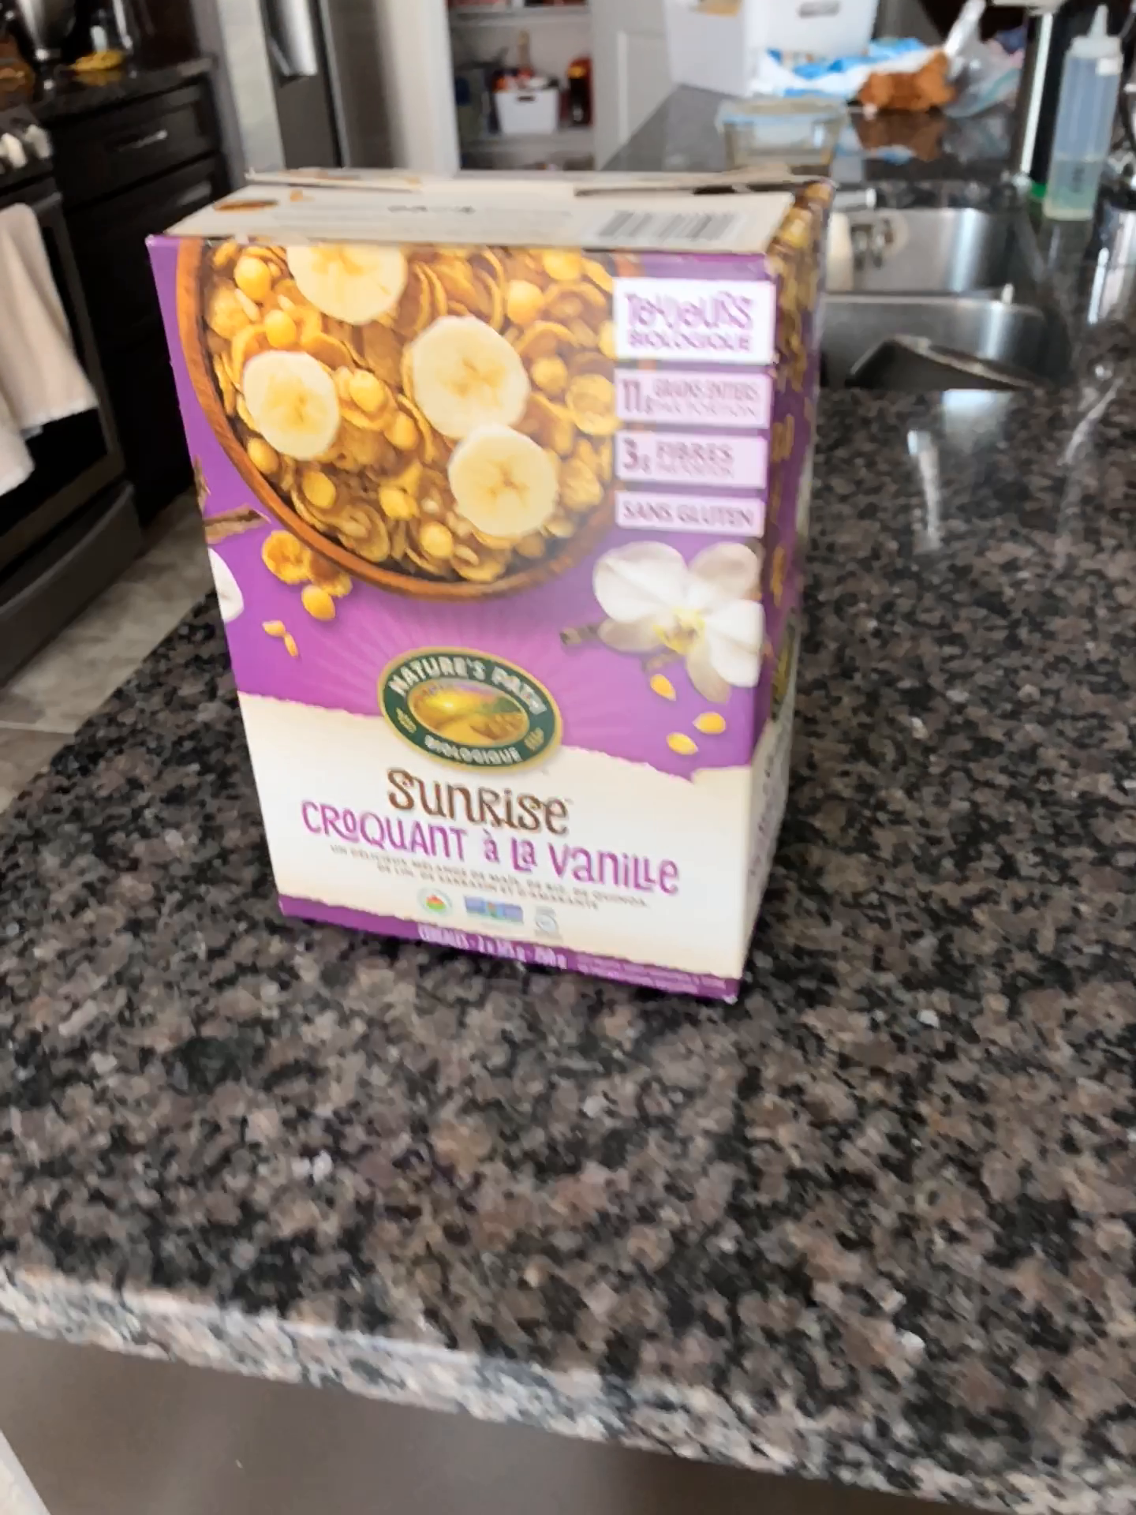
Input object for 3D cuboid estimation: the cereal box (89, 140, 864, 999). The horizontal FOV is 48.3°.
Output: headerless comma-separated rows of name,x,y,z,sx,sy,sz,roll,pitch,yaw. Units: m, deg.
cereal box,-0.013,-0.061,0.402,0.180,0.229,0.110,8,36,15
